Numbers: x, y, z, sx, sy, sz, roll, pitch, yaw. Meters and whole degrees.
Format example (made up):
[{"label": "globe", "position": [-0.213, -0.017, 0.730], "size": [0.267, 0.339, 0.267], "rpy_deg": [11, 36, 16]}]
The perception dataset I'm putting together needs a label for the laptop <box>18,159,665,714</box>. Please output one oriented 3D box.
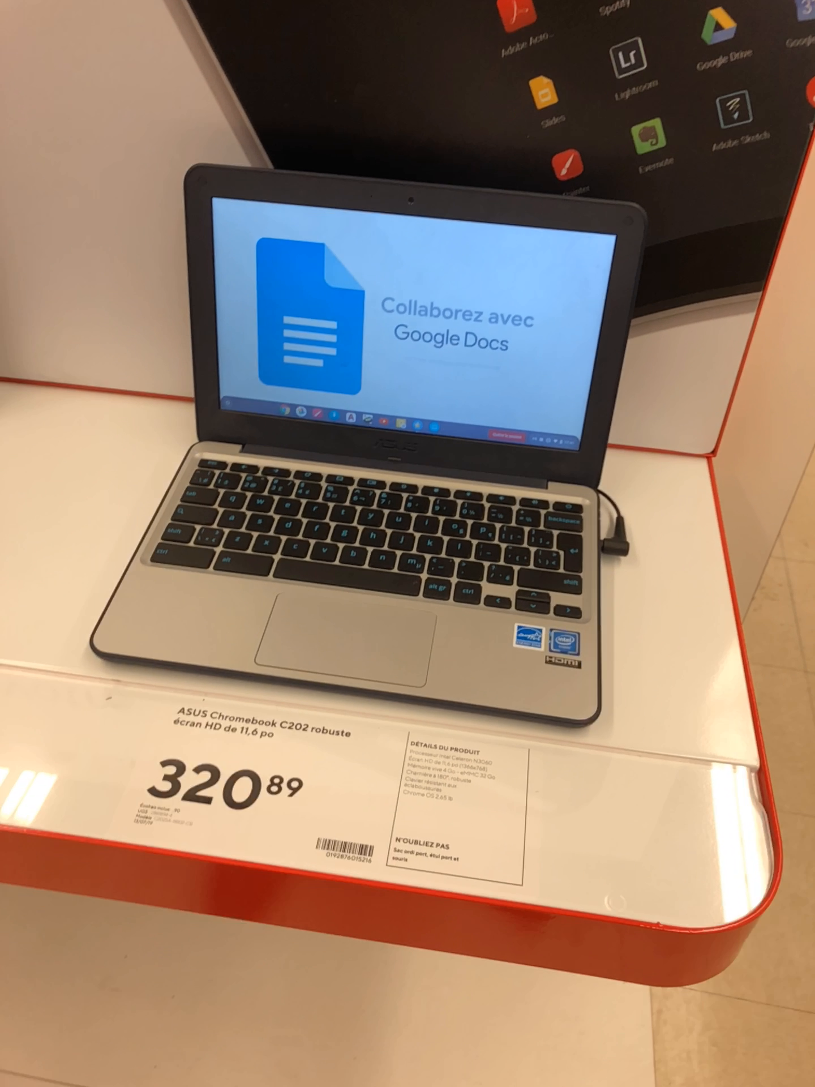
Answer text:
[{"label": "laptop", "position": [-0.016, -0.071, 0.514], "size": [0.274, 0.174, 0.231], "rpy_deg": [7, 45, 5]}]
